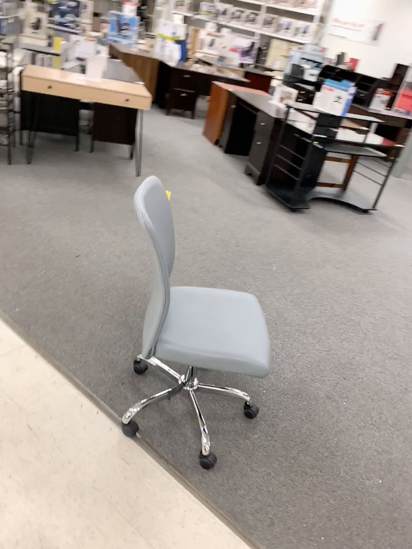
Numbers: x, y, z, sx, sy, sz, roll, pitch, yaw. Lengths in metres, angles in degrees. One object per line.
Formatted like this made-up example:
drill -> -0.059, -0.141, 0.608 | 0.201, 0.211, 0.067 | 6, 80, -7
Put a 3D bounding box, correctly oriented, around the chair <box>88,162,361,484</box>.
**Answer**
chair -> 0.010, 0.168, 1.537 | 0.650, 0.876, 0.603 | 12, 30, -3
